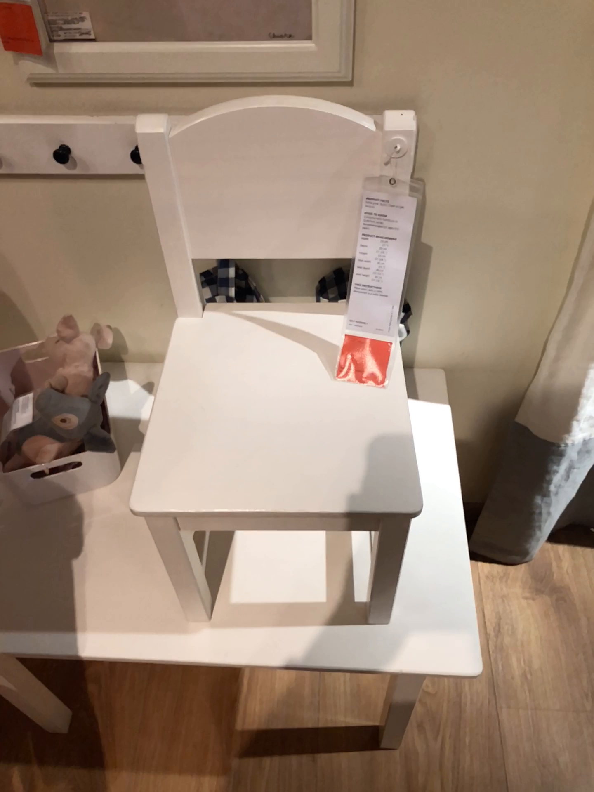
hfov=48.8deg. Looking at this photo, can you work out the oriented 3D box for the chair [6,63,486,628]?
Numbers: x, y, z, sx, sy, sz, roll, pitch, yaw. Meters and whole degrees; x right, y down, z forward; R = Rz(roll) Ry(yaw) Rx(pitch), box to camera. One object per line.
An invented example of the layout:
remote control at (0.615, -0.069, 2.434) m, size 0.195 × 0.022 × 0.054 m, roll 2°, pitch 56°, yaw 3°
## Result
chair at (-0.021, -0.007, 0.725) m, size 0.300 × 0.556 × 0.322 m, roll -1°, pitch 50°, yaw 2°
